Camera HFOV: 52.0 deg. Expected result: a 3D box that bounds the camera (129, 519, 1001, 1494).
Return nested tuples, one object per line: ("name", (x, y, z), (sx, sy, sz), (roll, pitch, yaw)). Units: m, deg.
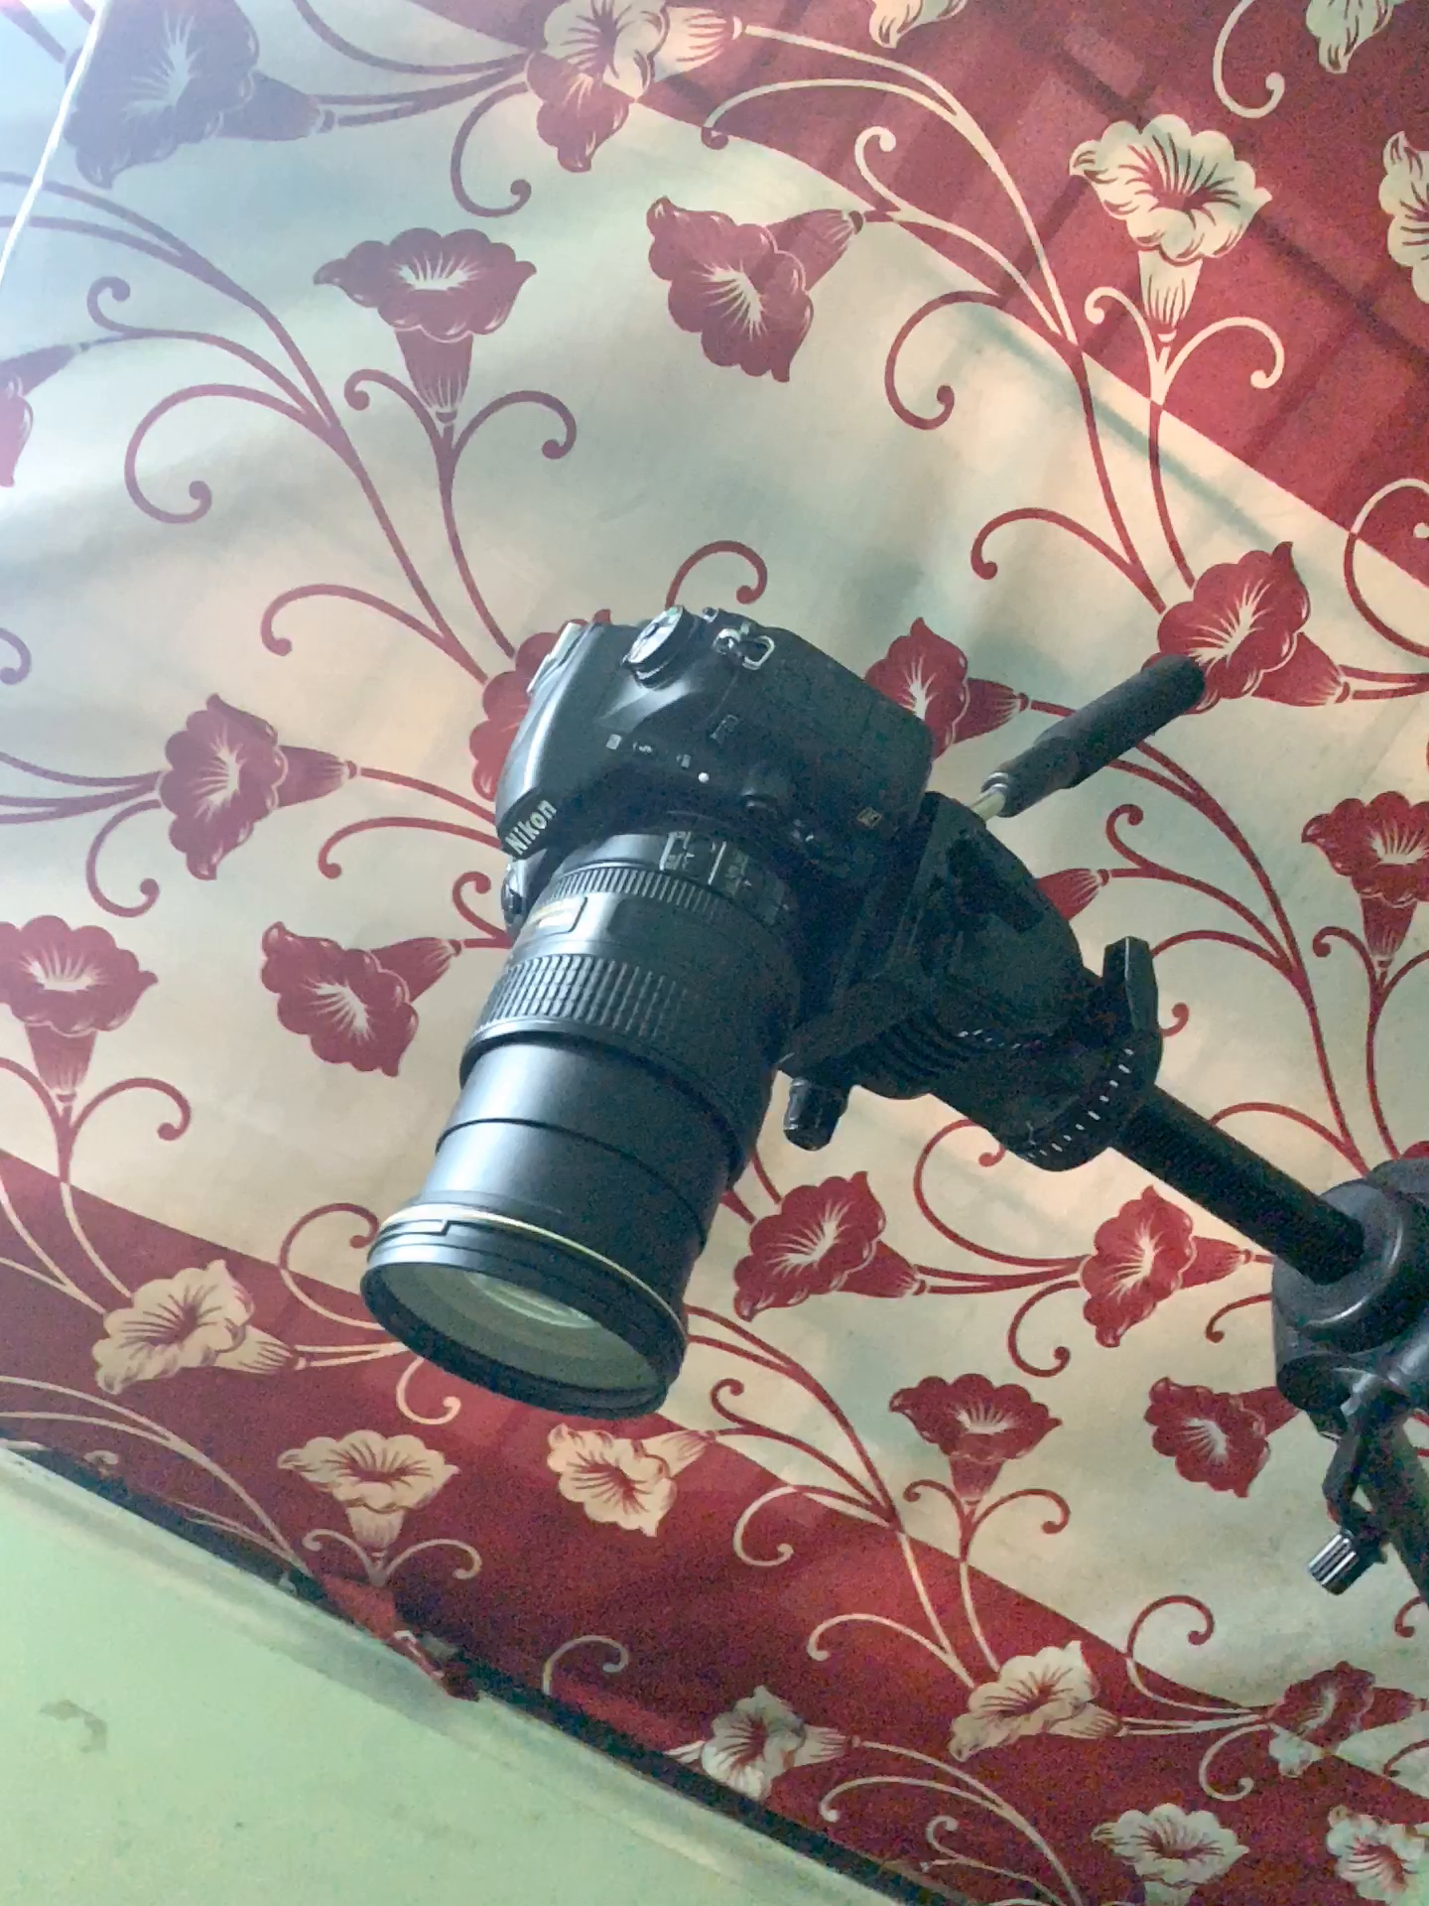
("camera", (-0.040, 0.022, 0.395), (0.172, 0.122, 0.170), (-43, 18, 49))
